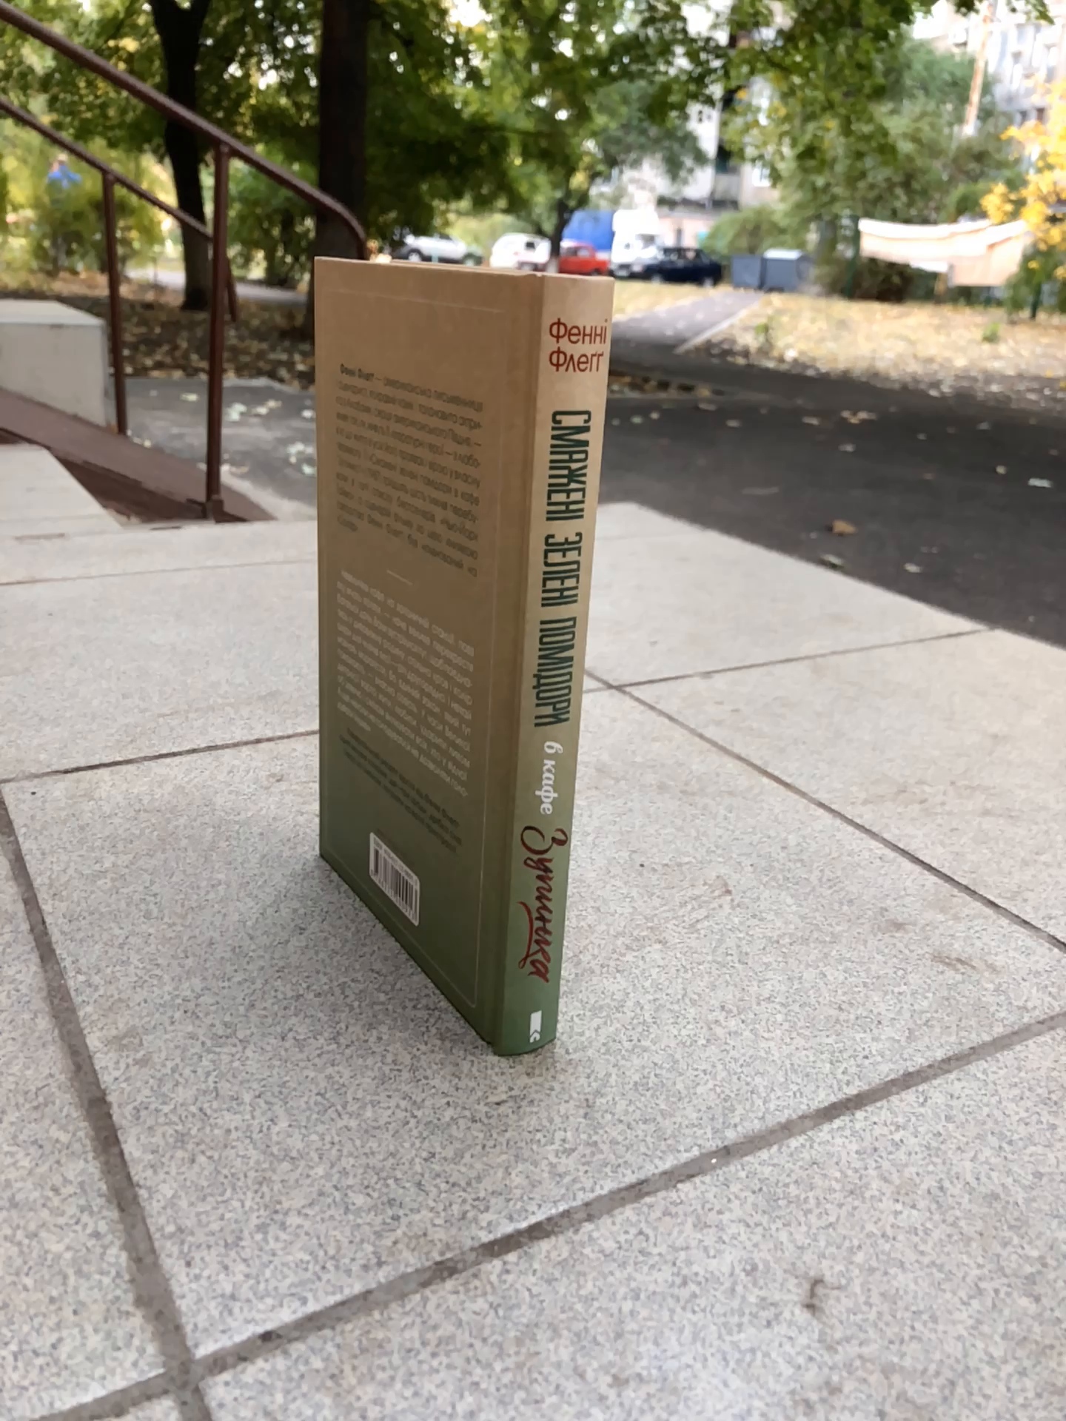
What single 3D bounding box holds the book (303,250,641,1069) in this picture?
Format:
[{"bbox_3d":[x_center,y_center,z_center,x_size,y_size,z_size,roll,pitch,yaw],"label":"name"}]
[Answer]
[{"bbox_3d":[-0.029,-0.024,0.352,0.030,0.209,0.141,-9,23,-29],"label":"book"}]
